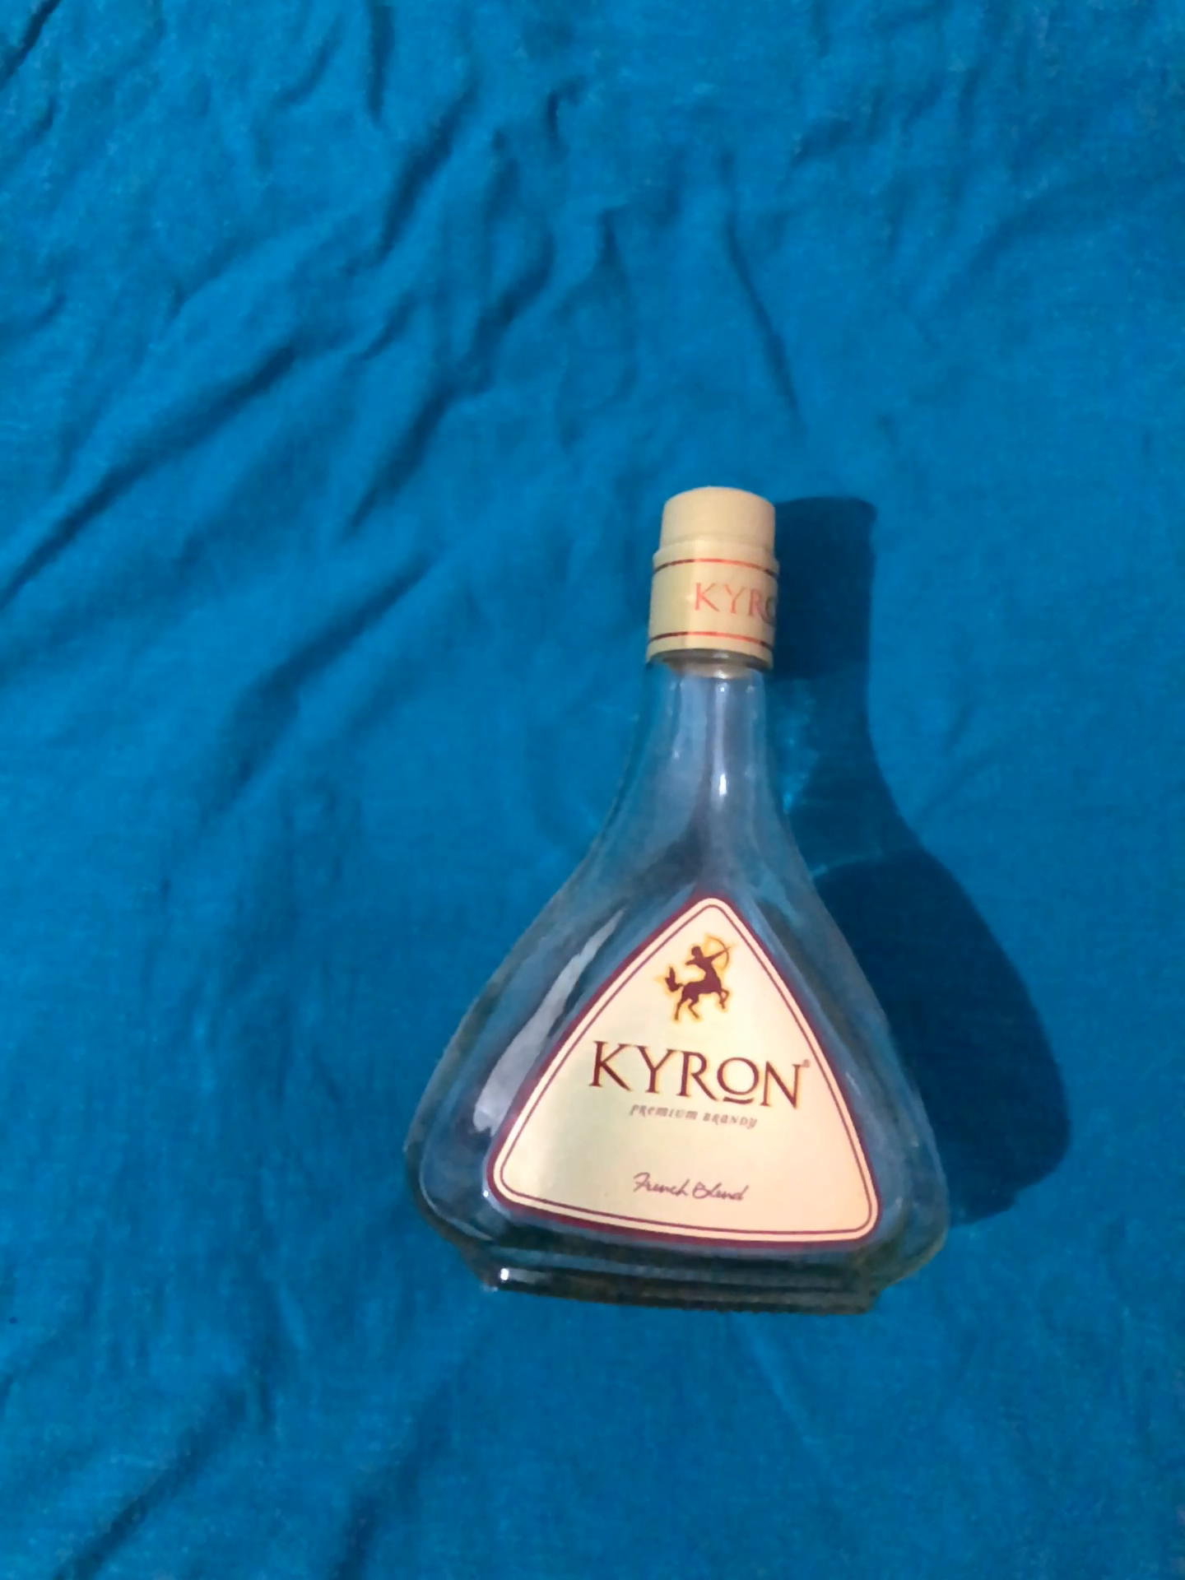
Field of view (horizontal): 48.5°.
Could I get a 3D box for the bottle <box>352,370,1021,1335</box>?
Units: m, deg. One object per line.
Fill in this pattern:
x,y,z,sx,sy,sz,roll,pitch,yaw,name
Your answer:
0.019,0.013,0.287,0.120,0.060,0.180,5,84,-4,bottle
